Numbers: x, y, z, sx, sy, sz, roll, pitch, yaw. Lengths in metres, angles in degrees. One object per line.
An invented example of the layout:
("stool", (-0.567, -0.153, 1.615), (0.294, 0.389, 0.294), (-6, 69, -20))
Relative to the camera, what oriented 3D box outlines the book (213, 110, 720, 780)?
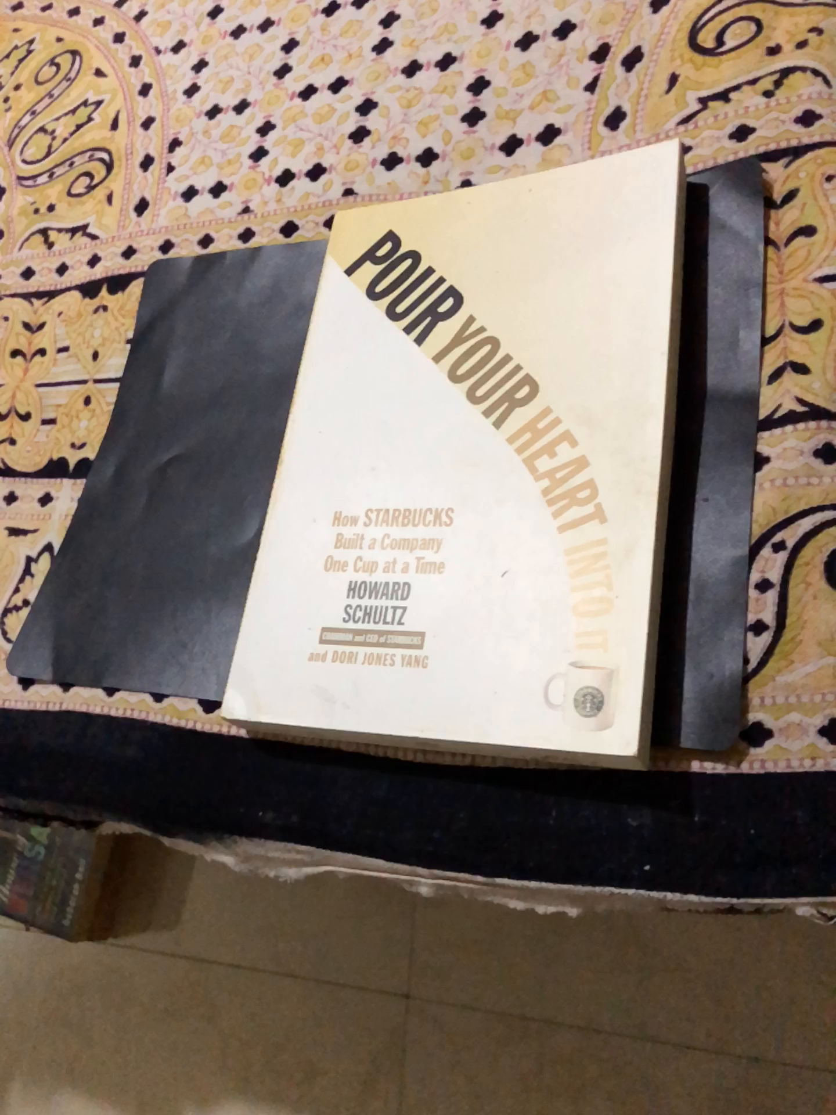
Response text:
("book", (0.026, -0.047, 0.364), (0.160, 0.050, 0.240), (1, 70, 25))
